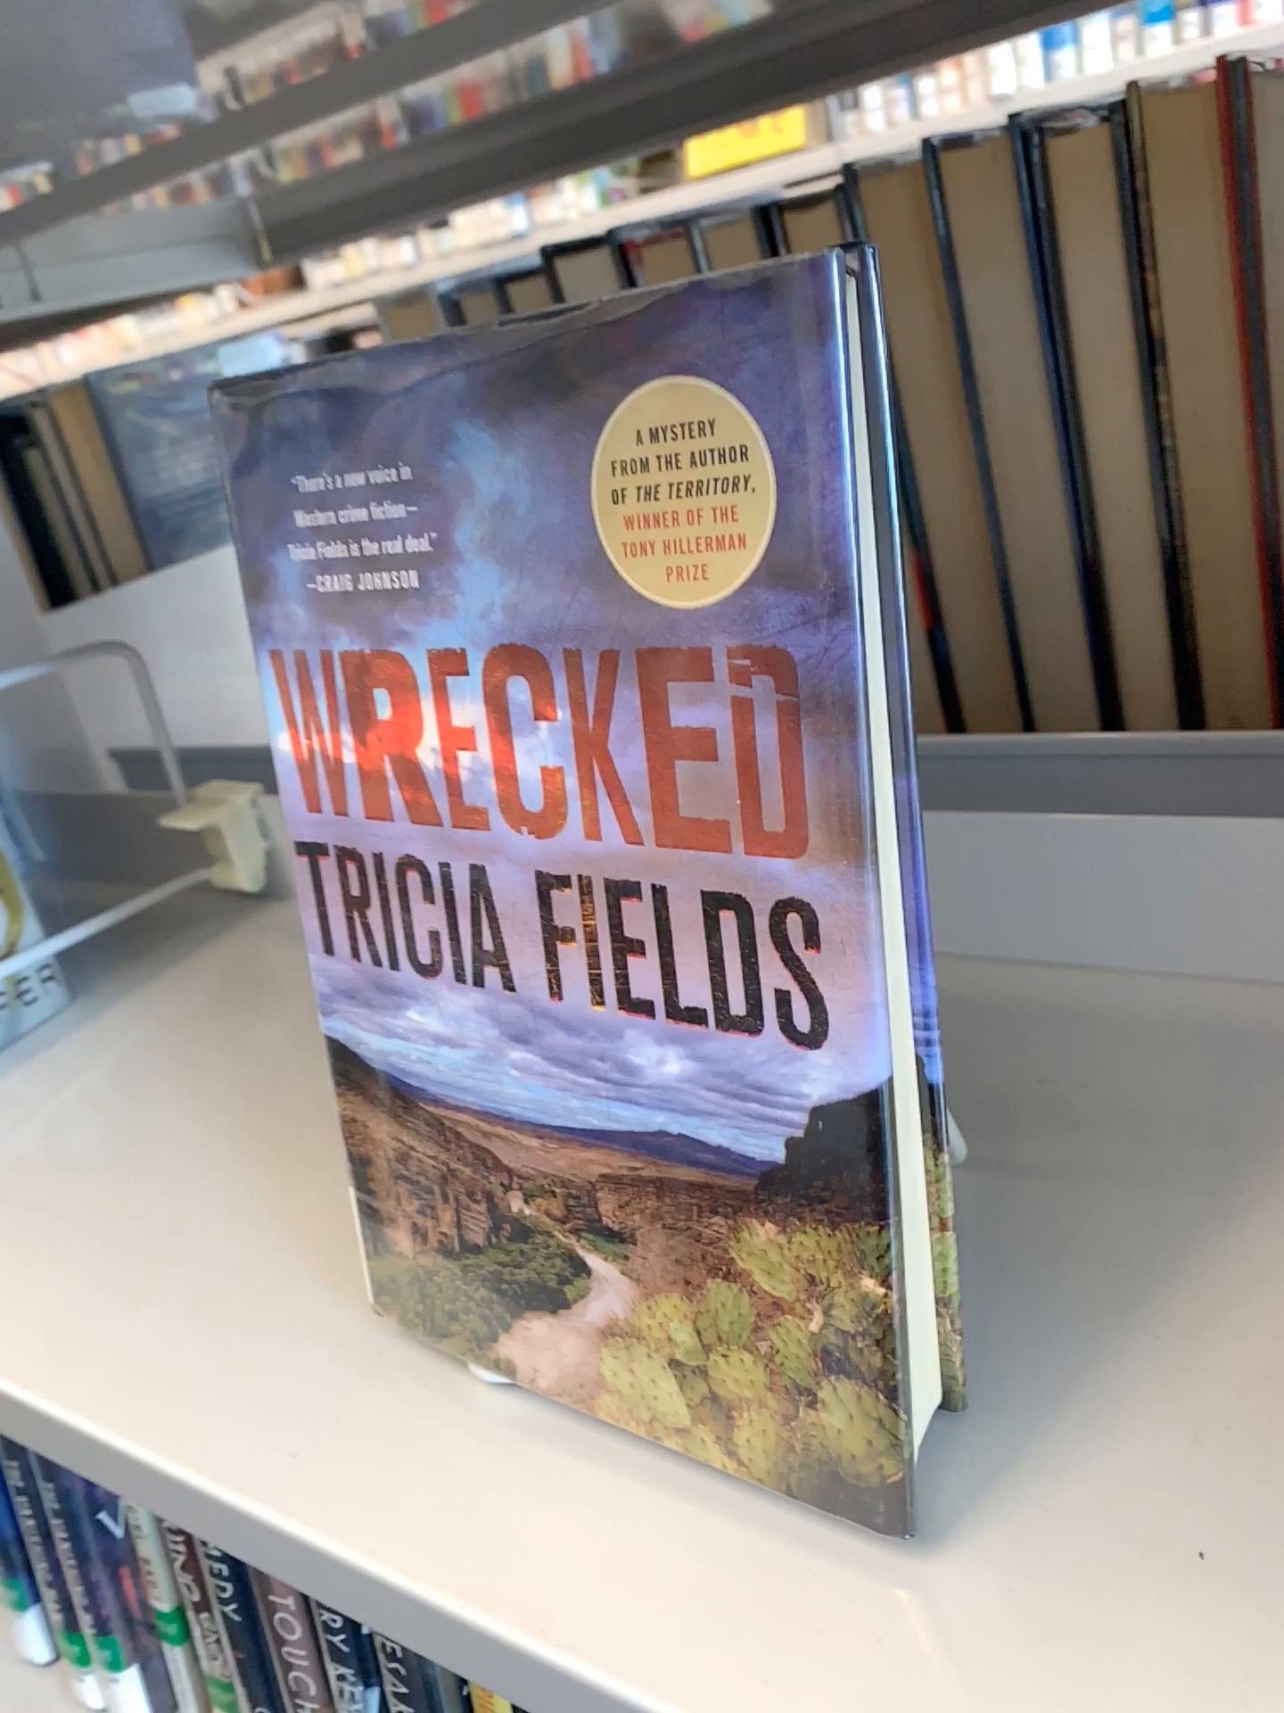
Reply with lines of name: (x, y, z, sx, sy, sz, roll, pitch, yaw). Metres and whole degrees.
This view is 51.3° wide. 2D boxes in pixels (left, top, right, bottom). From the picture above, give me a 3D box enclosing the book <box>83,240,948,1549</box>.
book: (-0.026, 0.007, 0.257, 0.150, 0.203, 0.040, 5, 19, 38)
